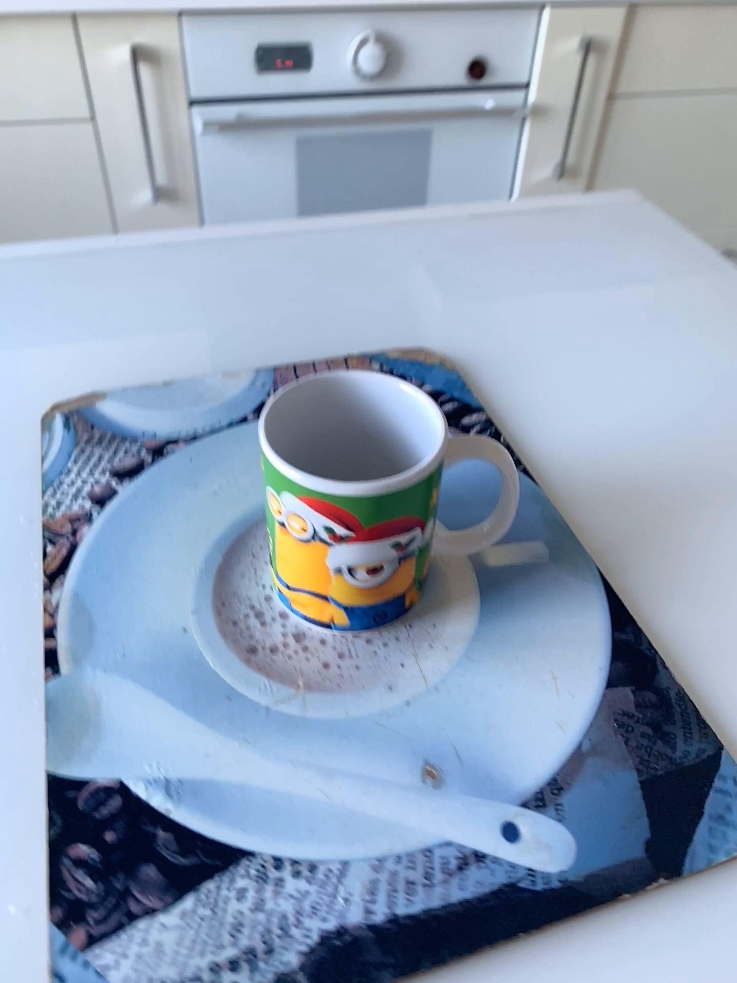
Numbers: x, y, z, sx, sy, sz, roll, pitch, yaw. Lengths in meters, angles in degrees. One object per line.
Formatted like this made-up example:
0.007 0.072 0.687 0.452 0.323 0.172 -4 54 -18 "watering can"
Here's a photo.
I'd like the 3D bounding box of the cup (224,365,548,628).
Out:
0.001 0.000 0.369 0.133 0.077 0.094 -3 43 -7 "cup"
